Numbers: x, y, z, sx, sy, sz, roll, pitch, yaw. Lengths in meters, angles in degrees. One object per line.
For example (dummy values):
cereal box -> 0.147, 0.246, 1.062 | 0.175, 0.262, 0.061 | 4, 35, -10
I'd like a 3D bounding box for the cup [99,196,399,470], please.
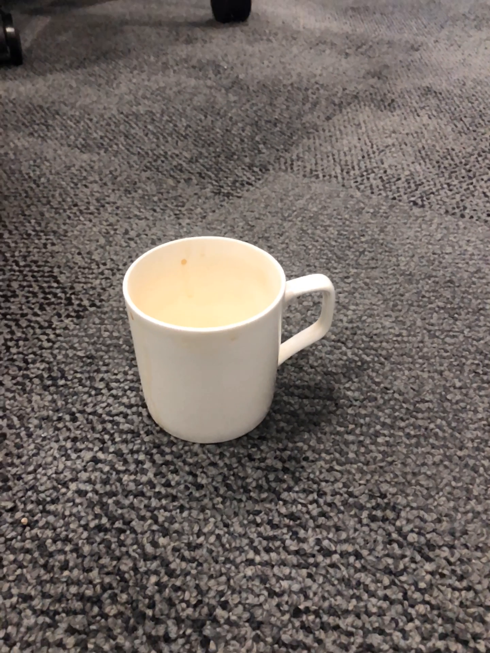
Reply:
cup -> -0.001, -0.001, 0.239 | 0.100, 0.070, 0.070 | -15, 43, -17
